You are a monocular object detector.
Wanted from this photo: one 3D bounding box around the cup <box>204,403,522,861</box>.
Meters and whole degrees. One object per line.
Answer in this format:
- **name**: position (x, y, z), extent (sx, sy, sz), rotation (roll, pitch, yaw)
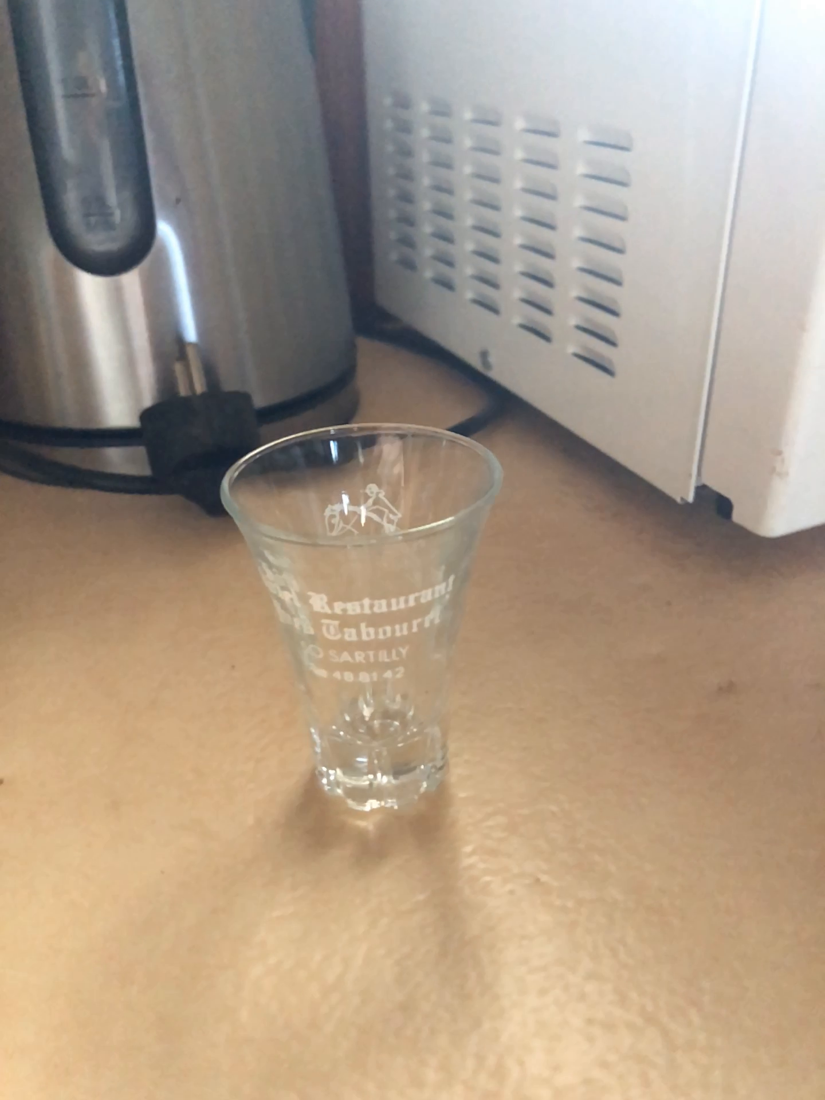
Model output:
- **cup**: position (-0.011, 0.014, 0.188), extent (0.050, 0.070, 0.050), rotation (-1, 29, 1)
